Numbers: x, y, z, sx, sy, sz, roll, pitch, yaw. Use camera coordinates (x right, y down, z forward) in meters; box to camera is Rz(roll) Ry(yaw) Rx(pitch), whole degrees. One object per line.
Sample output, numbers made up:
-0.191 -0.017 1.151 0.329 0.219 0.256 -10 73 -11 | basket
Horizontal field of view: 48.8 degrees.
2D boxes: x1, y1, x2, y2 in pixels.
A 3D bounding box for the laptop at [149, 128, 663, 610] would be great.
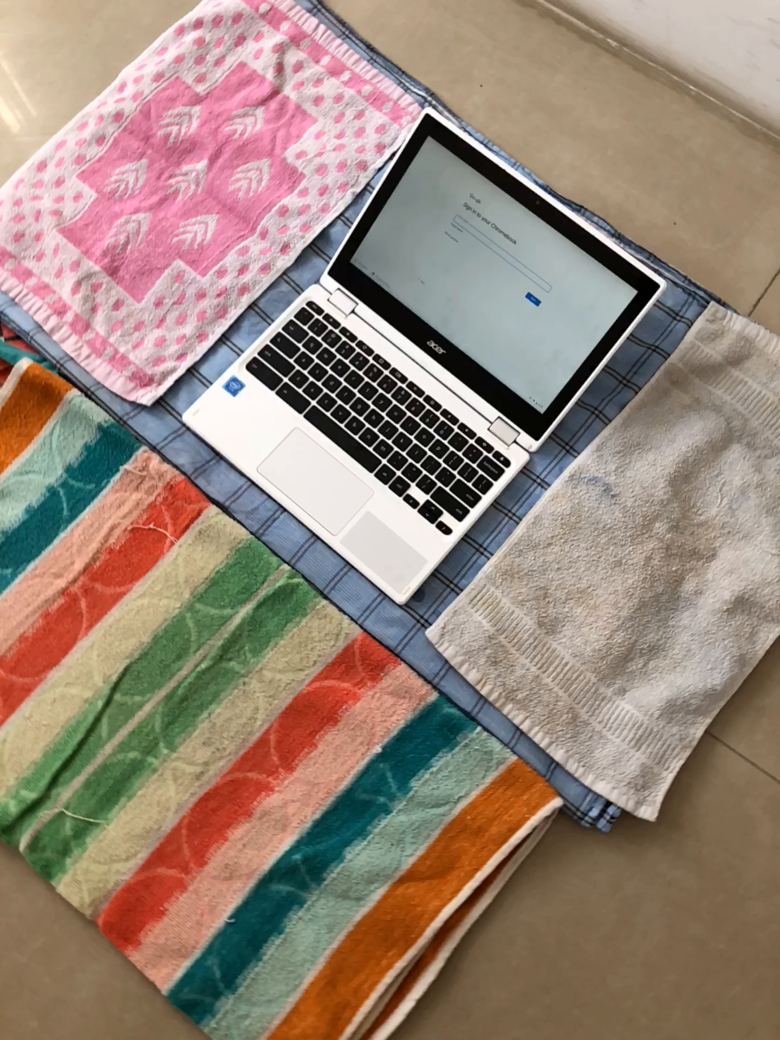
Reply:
0.021 -0.147 0.820 0.285 0.101 0.367 40 78 8 | laptop
